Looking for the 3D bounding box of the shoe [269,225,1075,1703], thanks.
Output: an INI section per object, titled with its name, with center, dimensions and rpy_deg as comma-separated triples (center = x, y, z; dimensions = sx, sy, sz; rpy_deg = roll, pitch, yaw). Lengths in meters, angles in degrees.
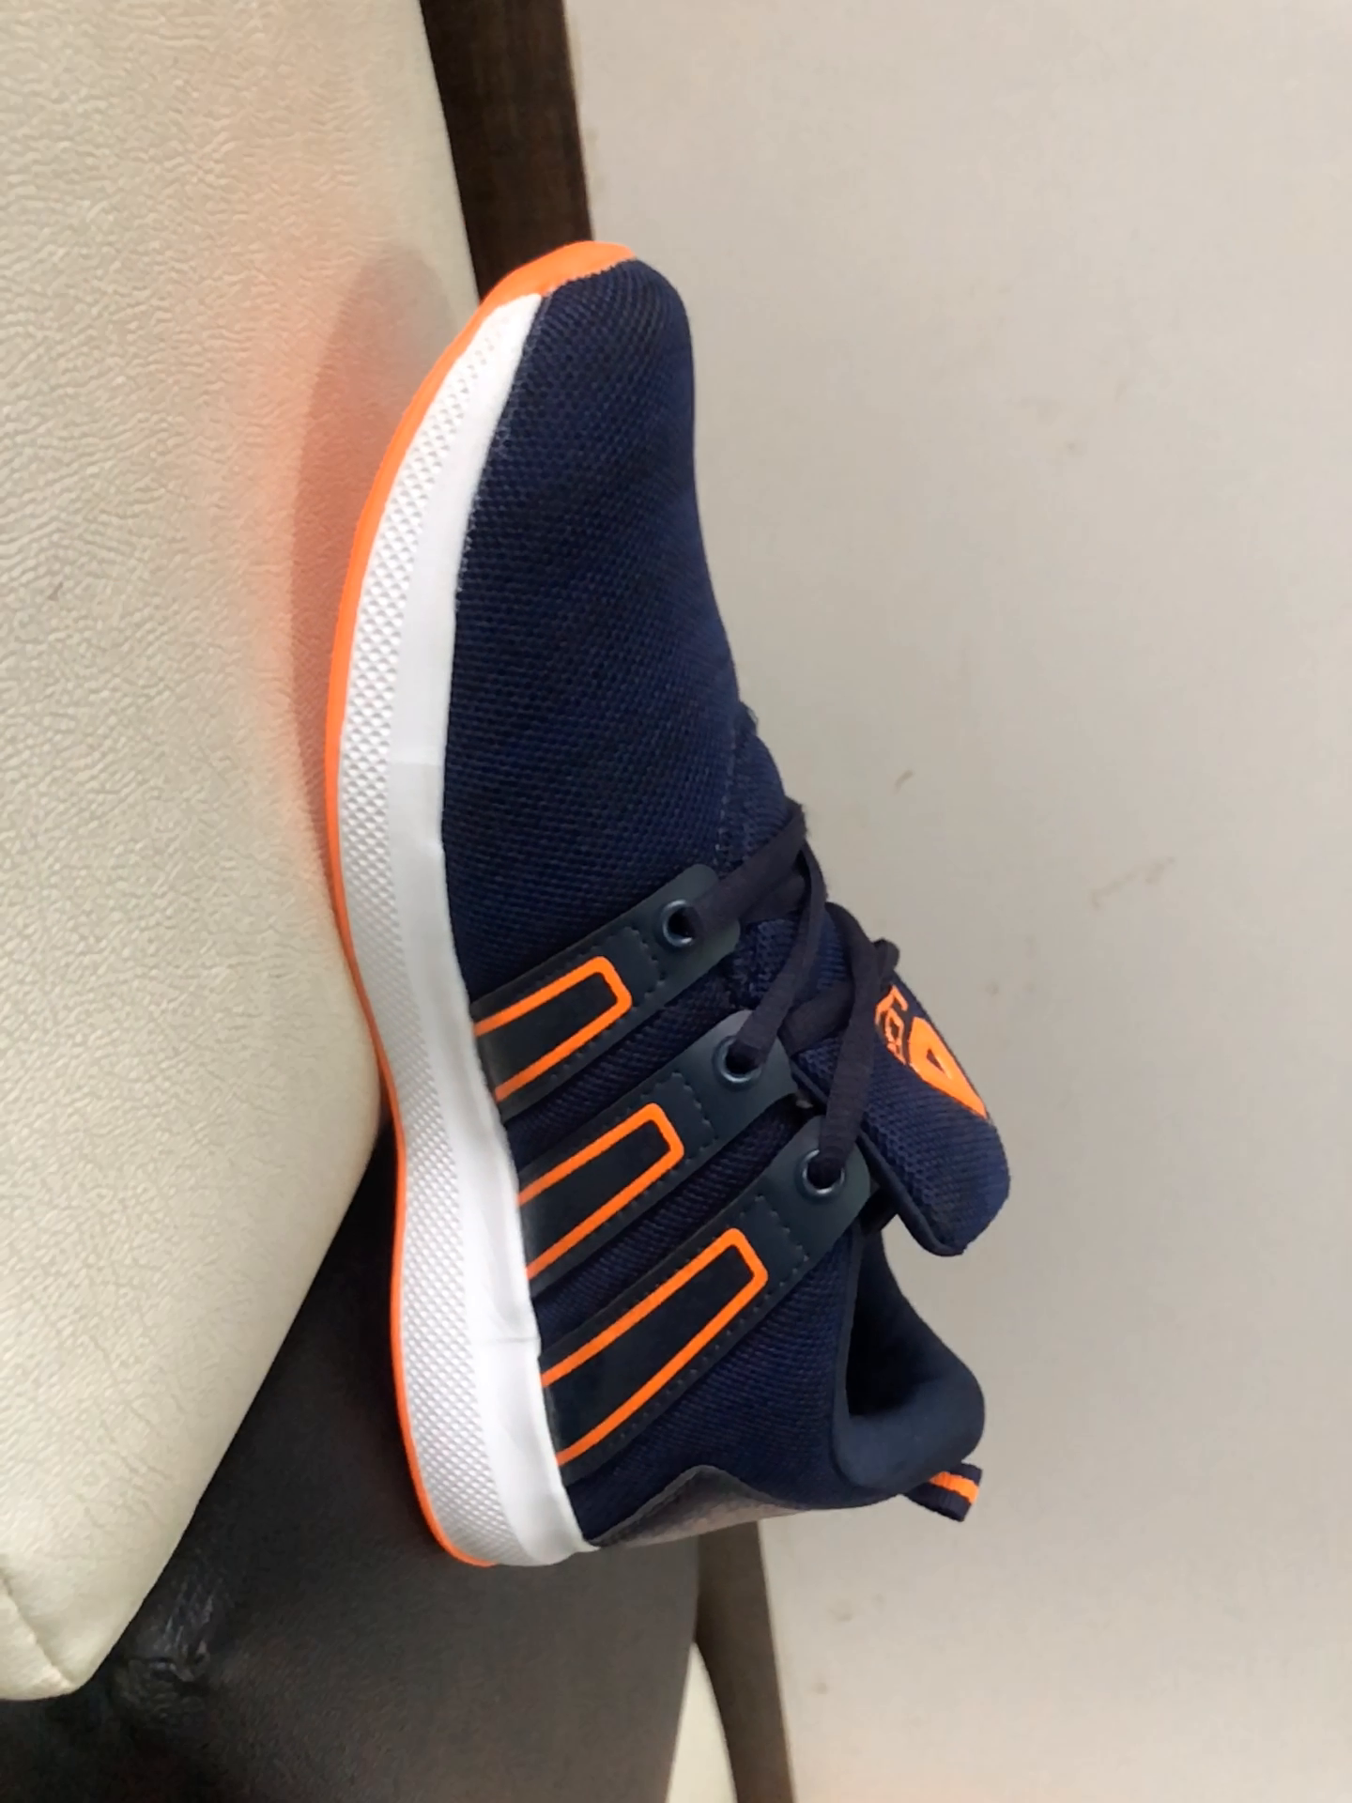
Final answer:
[shoe]
center = 0.008, 0.014, 0.319
dimensions = 0.120, 0.110, 0.280
rpy_deg = -69, 161, -62
